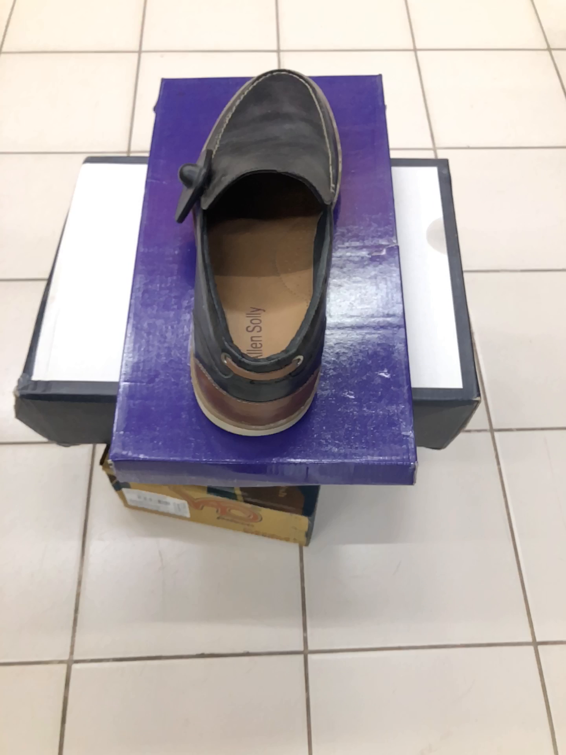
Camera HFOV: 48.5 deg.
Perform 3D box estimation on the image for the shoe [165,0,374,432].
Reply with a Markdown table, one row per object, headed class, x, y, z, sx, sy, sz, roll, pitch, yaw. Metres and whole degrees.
| class | x | y | z | sx | sy | sz | roll | pitch | yaw |
| --- | --- | --- | --- | --- | --- | --- | --- | --- | --- |
| shoe | -0.009 | -0.124 | 0.418 | 0.100 | 0.109 | 0.301 | 0 | 63 | -2 |
